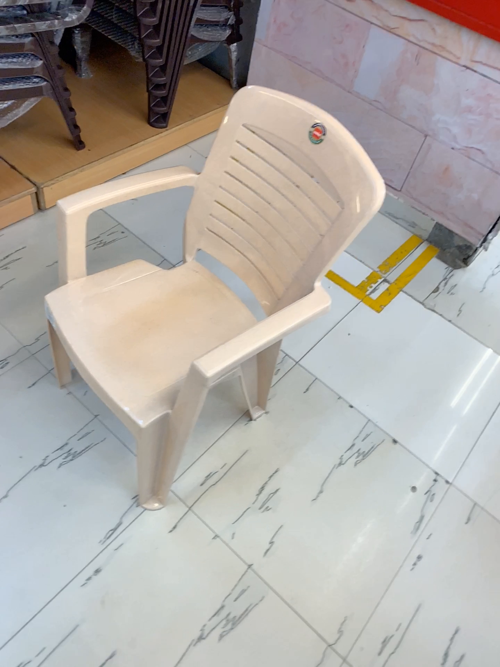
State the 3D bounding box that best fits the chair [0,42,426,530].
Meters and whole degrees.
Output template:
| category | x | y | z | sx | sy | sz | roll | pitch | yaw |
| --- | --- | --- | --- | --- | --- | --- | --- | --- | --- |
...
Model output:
| category | x | y | z | sx | sy | sz | roll | pitch | yaw |
| --- | --- | --- | --- | --- | --- | --- | --- | --- | --- |
| chair | -0.160 | -0.095 | 1.180 | 0.622 | 0.774 | 0.572 | -30 | 63 | -30 |
